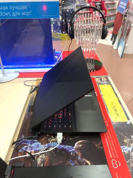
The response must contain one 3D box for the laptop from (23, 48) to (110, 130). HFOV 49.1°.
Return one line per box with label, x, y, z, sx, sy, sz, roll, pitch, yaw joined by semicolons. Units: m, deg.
laptop;0.002;-0.034;0.643;0.257;0.166;0.397;0;33;-1
